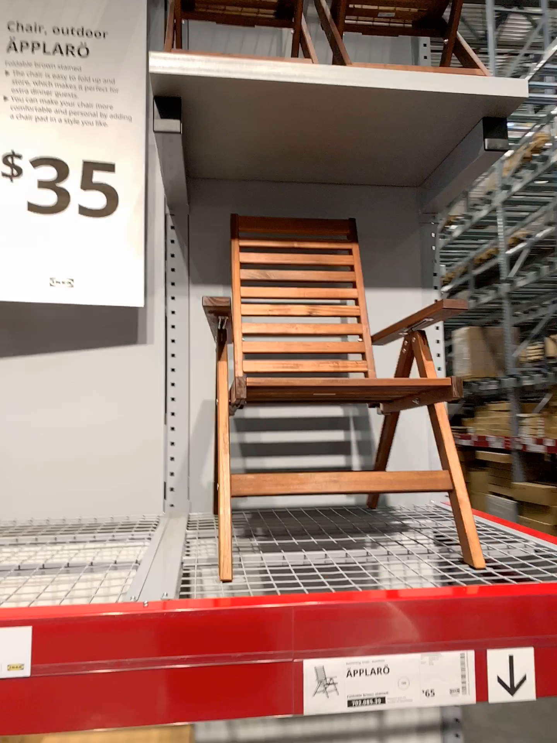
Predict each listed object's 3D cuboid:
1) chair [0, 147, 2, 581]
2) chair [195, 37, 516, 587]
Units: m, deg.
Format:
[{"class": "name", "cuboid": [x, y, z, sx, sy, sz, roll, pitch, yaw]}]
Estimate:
[{"class": "chair", "cuboid": [-1.181, -0.006, 1.510, 0.615, 0.885, 0.630, 0, -6, -9]}, {"class": "chair", "cuboid": [0.086, -0.101, 1.559, 0.615, 1.056, 0.890, 0, -5, -9]}]
